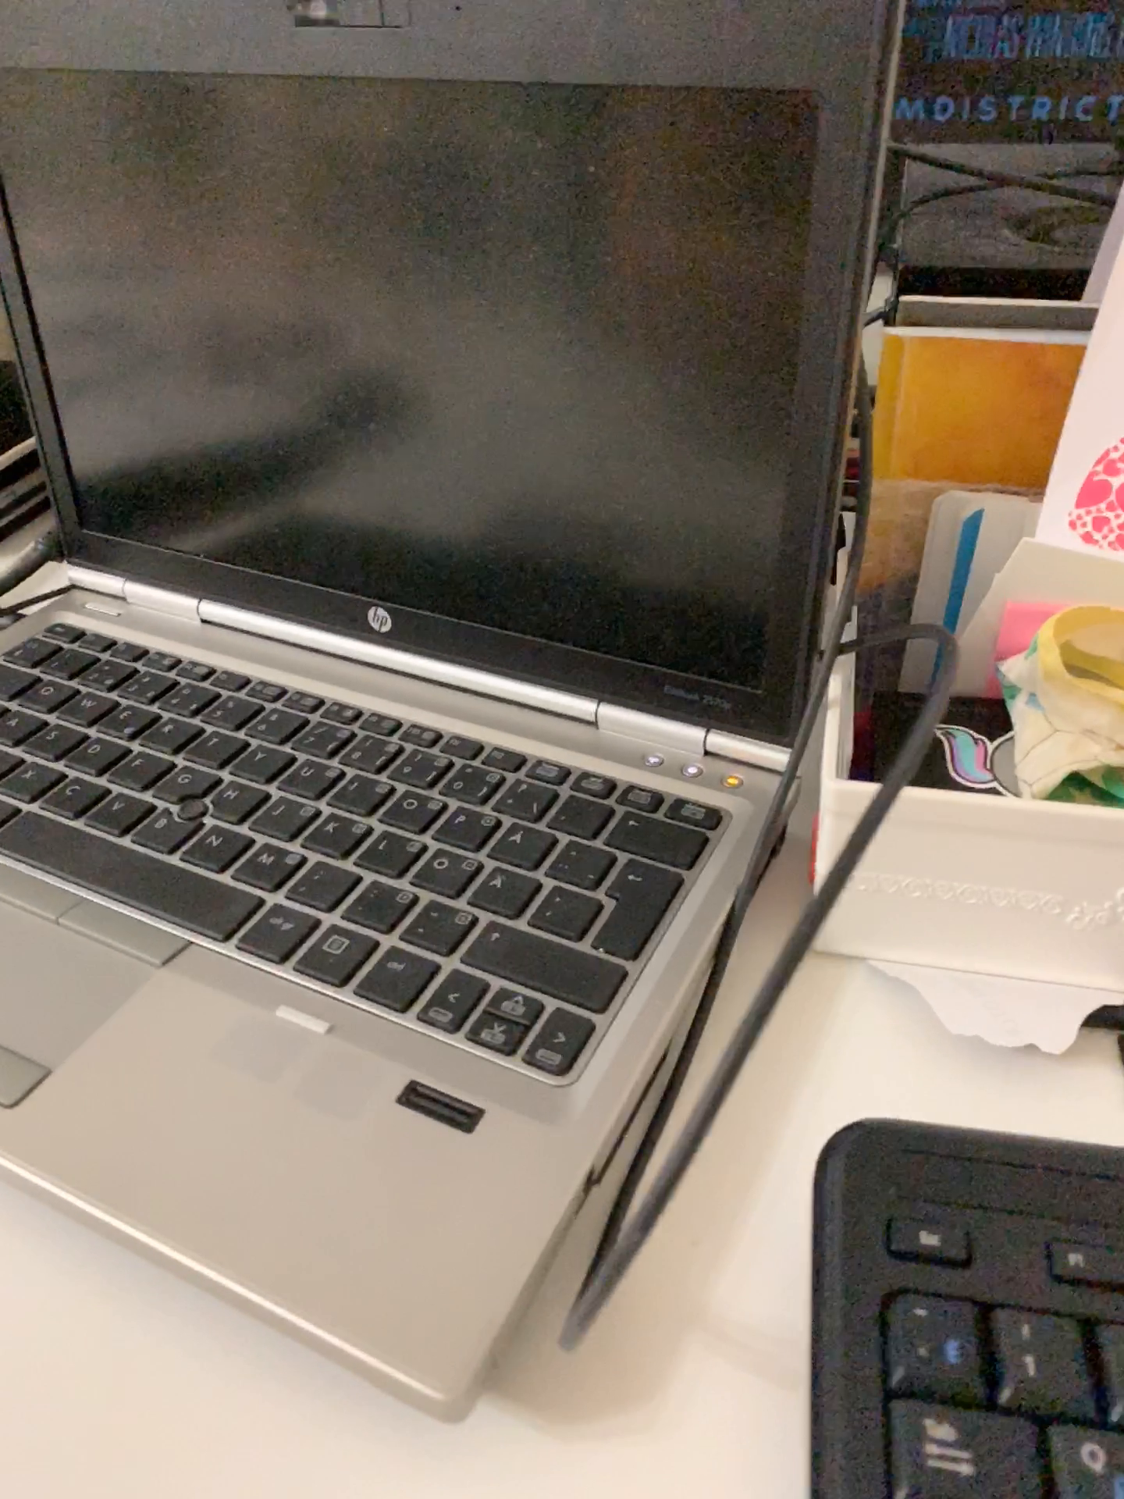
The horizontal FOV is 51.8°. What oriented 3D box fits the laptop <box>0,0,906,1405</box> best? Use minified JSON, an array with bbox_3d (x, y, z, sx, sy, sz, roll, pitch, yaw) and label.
[{"bbox_3d":[-0.107,-0.065,0.293,0.303,0.204,0.225,15,40,23],"label":"laptop"}]
